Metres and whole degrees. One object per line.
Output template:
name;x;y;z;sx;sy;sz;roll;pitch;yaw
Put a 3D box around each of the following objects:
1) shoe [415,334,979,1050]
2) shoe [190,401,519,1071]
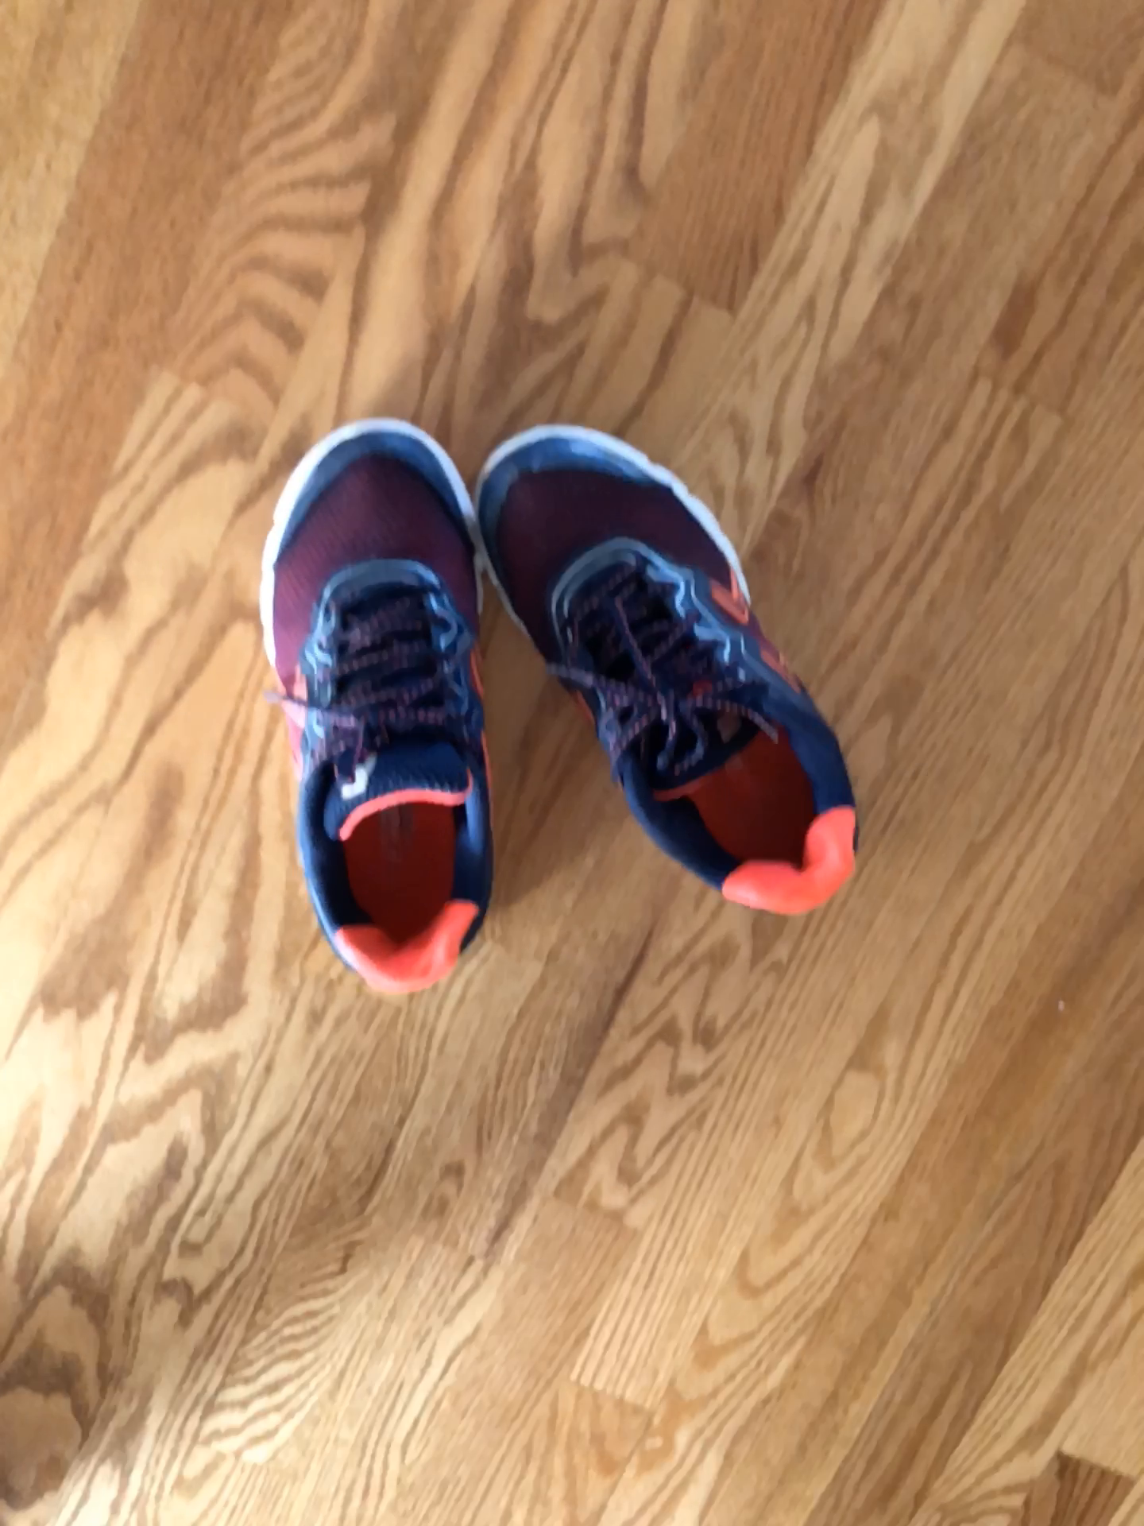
shoe;0.054;-0.031;0.574;0.116;0.110;0.277;-30;103;2
shoe;-0.088;-0.016;0.566;0.108;0.110;0.270;-4;102;-3
